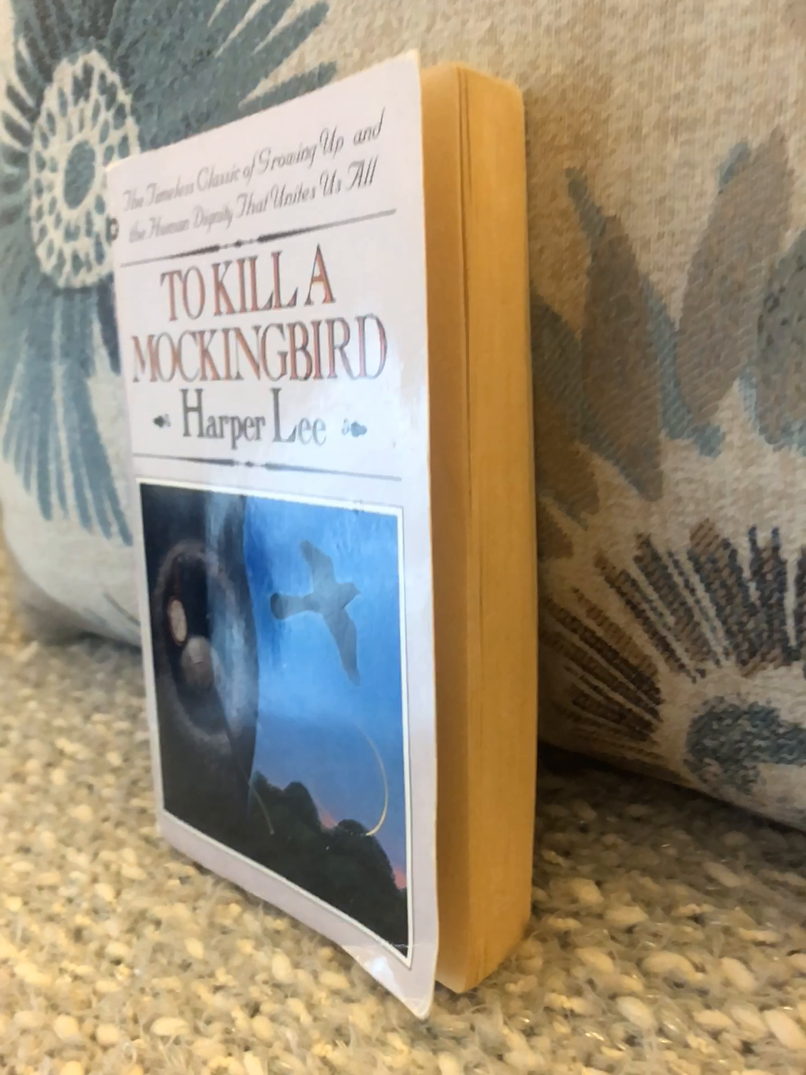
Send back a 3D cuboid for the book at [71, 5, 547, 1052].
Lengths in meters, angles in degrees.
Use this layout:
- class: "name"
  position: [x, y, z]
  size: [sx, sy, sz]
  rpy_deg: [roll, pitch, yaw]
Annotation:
- class: "book"
  position: [-0.025, -0.002, 0.194]
  size: [0.033, 0.166, 0.112]
  rpy_deg: [-9, 12, -42]
